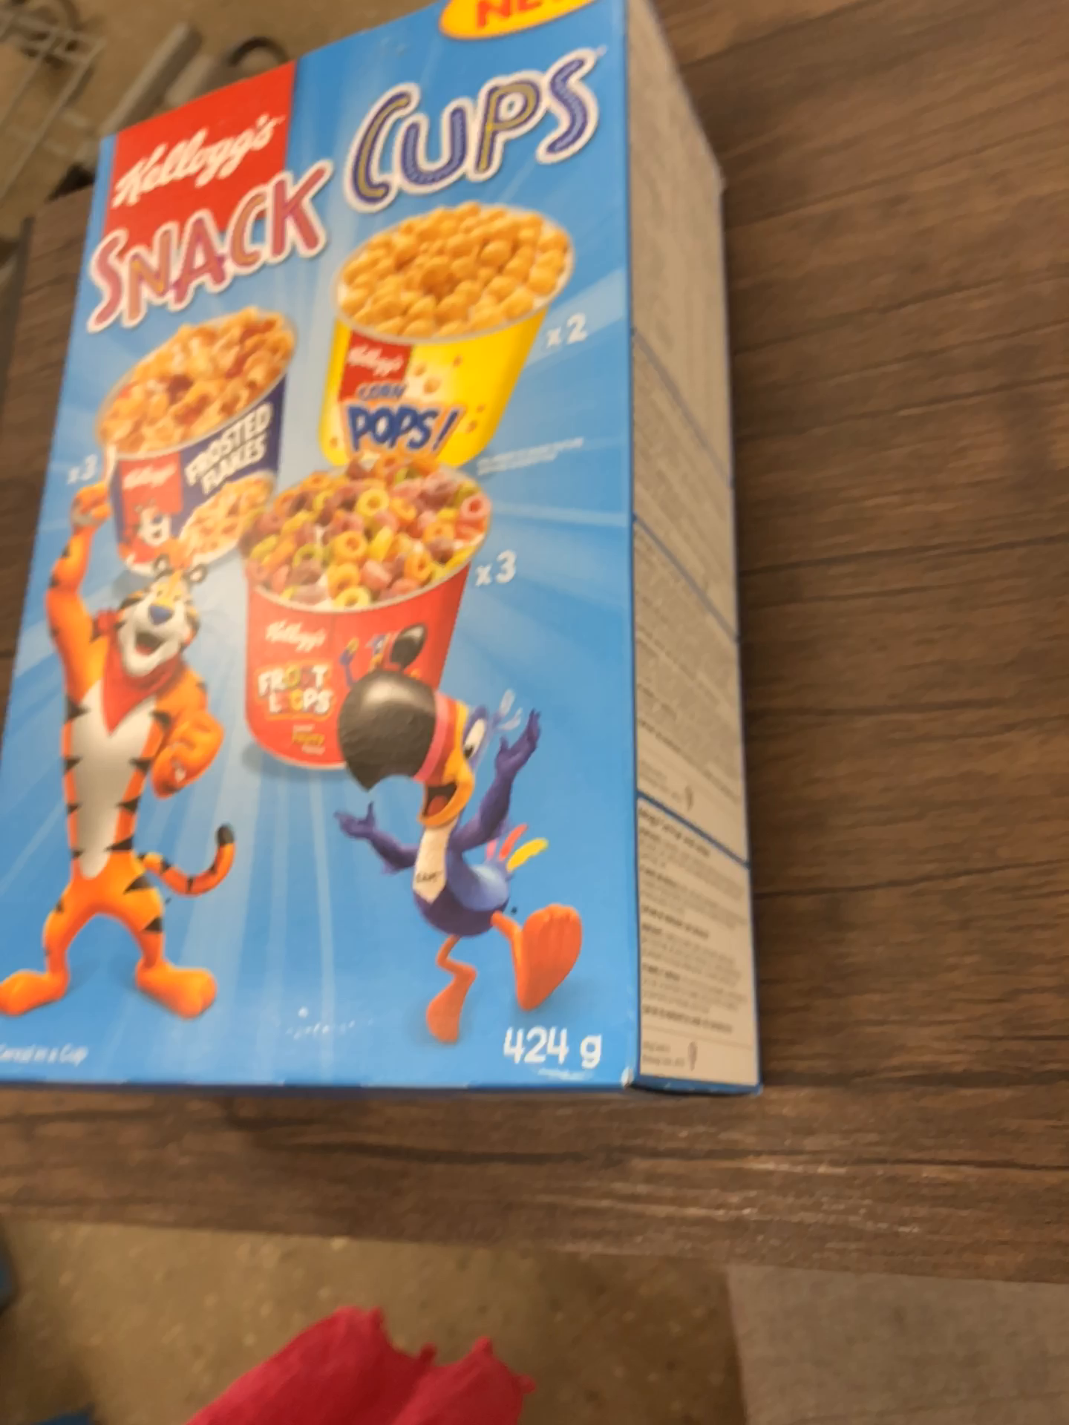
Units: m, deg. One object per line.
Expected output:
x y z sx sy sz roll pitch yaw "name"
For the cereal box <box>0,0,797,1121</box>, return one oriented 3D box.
-0.047 -0.048 0.380 0.221 0.100 0.330 -7 71 24 "cereal box"
